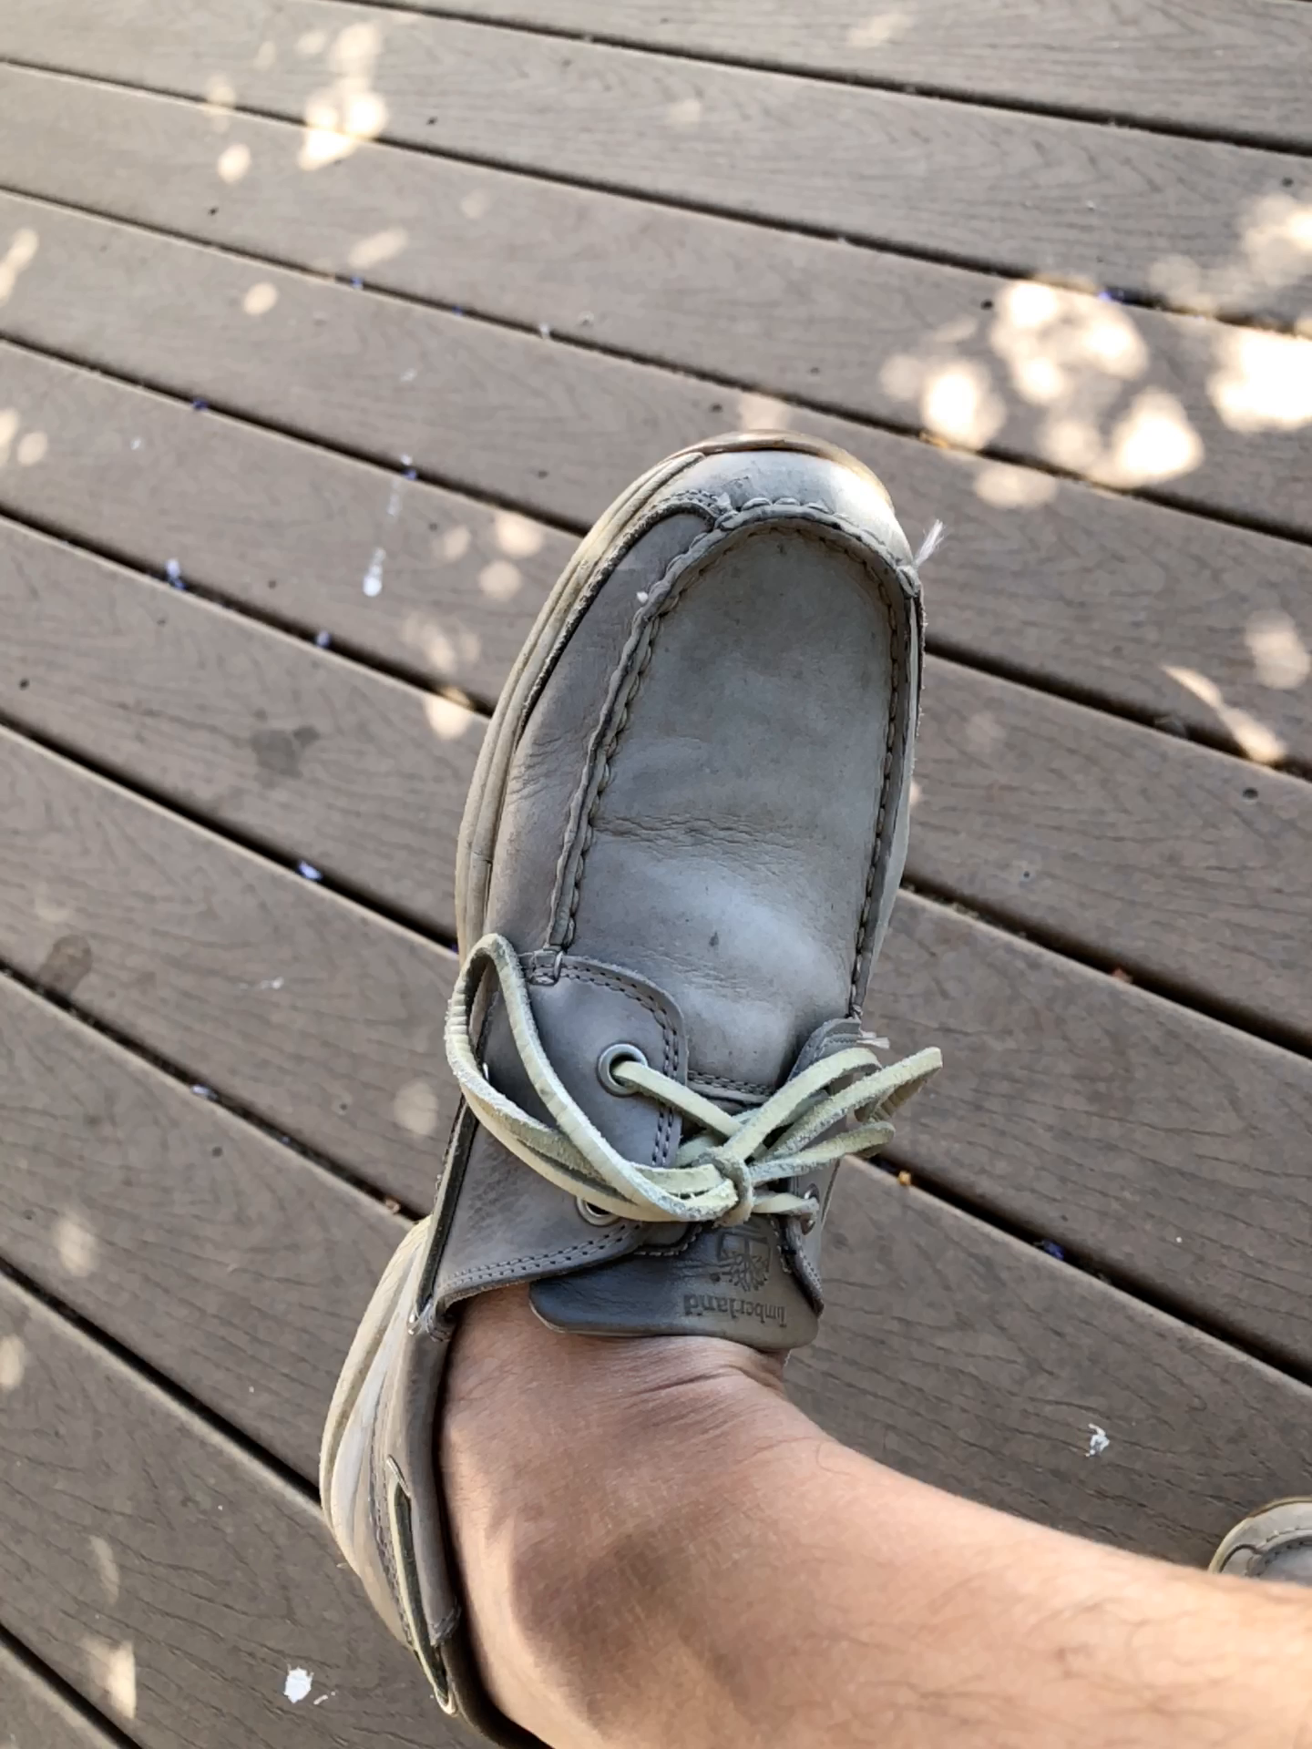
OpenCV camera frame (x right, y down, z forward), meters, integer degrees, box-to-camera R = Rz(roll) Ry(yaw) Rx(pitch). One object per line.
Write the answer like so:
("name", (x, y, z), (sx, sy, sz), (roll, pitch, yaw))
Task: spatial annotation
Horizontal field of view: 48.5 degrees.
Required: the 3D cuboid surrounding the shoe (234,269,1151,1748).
("shoe", (0.005, 0.048, 0.344), (0.083, 0.116, 0.326), (18, 95, 58))
